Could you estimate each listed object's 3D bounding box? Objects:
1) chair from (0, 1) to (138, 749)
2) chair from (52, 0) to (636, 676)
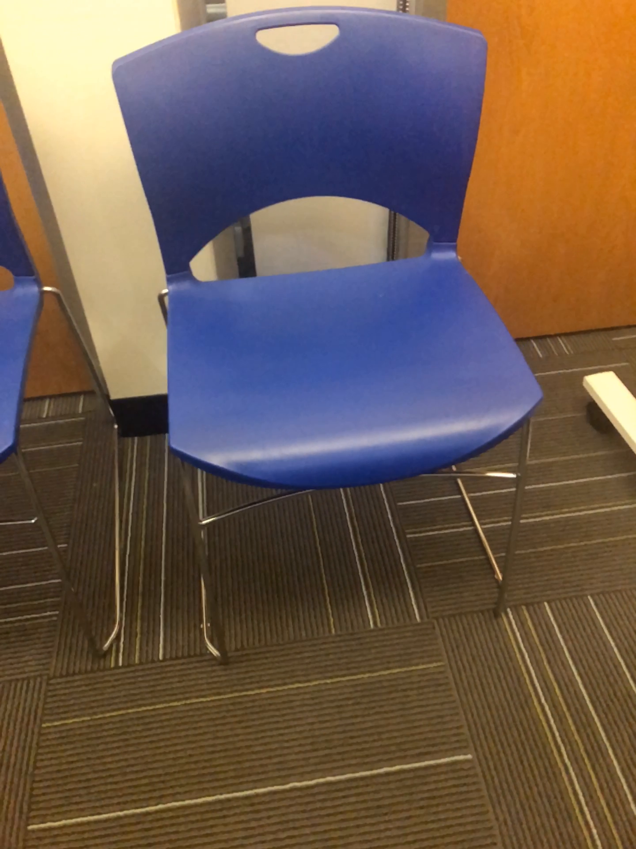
[{"bbox_3d":[-0.623,-0.061,1.055,0.520,0.853,0.635,-8,43,-7],"label":"chair"},{"bbox_3d":[0.030,-0.139,1.042,0.540,0.773,0.595,-7,42,-5],"label":"chair"}]
